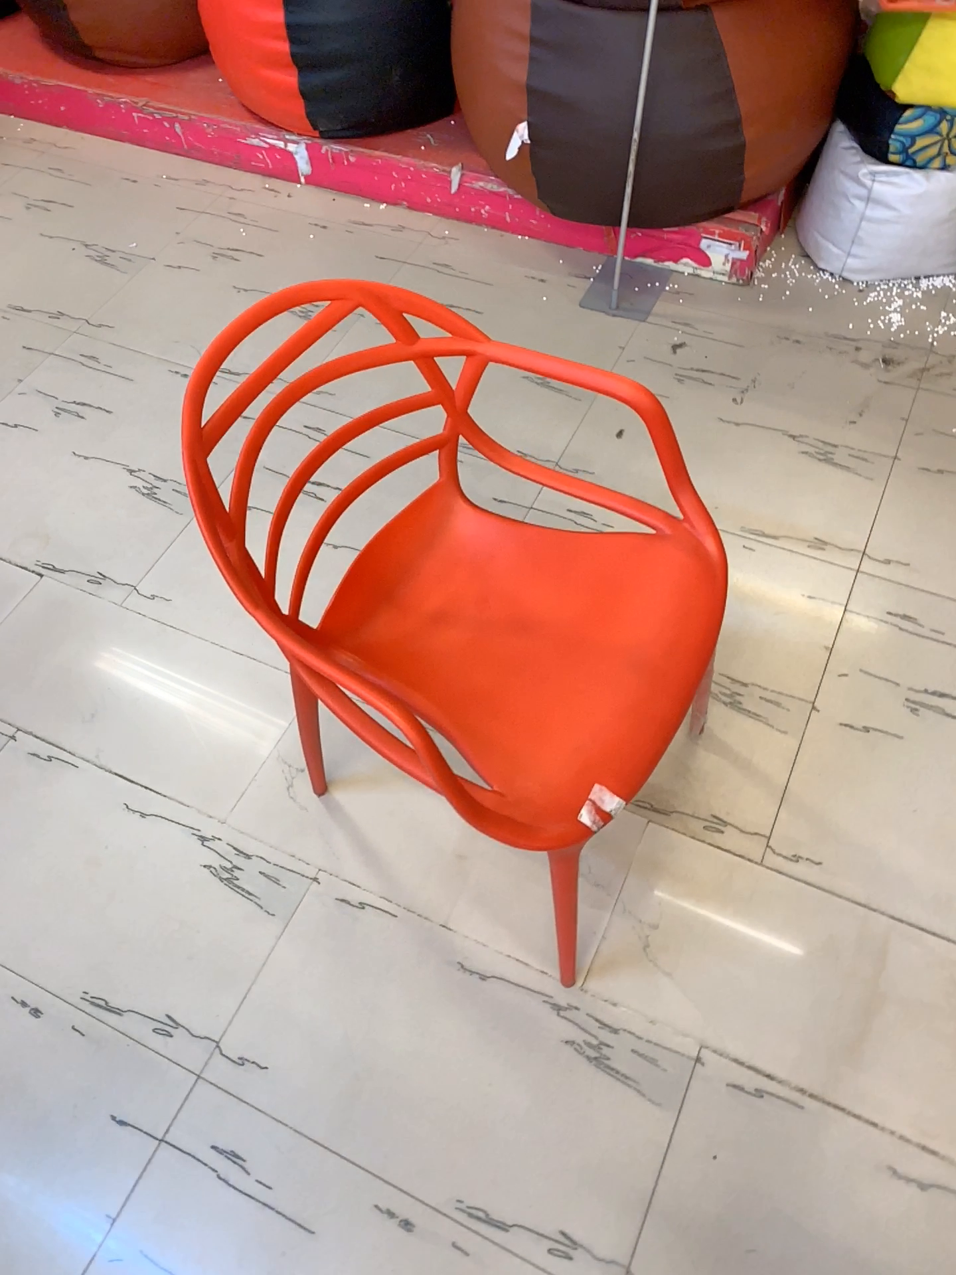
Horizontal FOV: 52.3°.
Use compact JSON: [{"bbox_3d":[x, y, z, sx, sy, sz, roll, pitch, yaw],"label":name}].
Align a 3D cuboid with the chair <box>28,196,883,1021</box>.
[{"bbox_3d":[0.010,-0.023,1.200,0.631,0.656,0.552,23,59,19],"label":"chair"}]
